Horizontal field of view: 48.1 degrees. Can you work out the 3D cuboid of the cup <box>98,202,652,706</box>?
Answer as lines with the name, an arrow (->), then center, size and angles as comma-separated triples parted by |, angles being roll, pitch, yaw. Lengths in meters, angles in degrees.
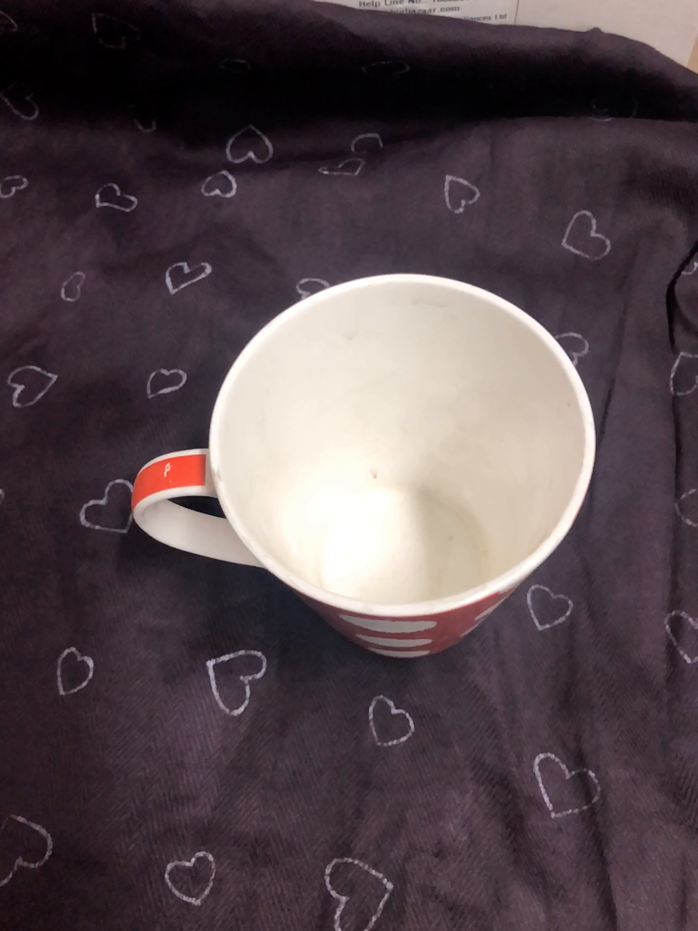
cup -> 0.001, 0.003, 0.222 | 0.110, 0.100, 0.090 | -10, 63, -4
